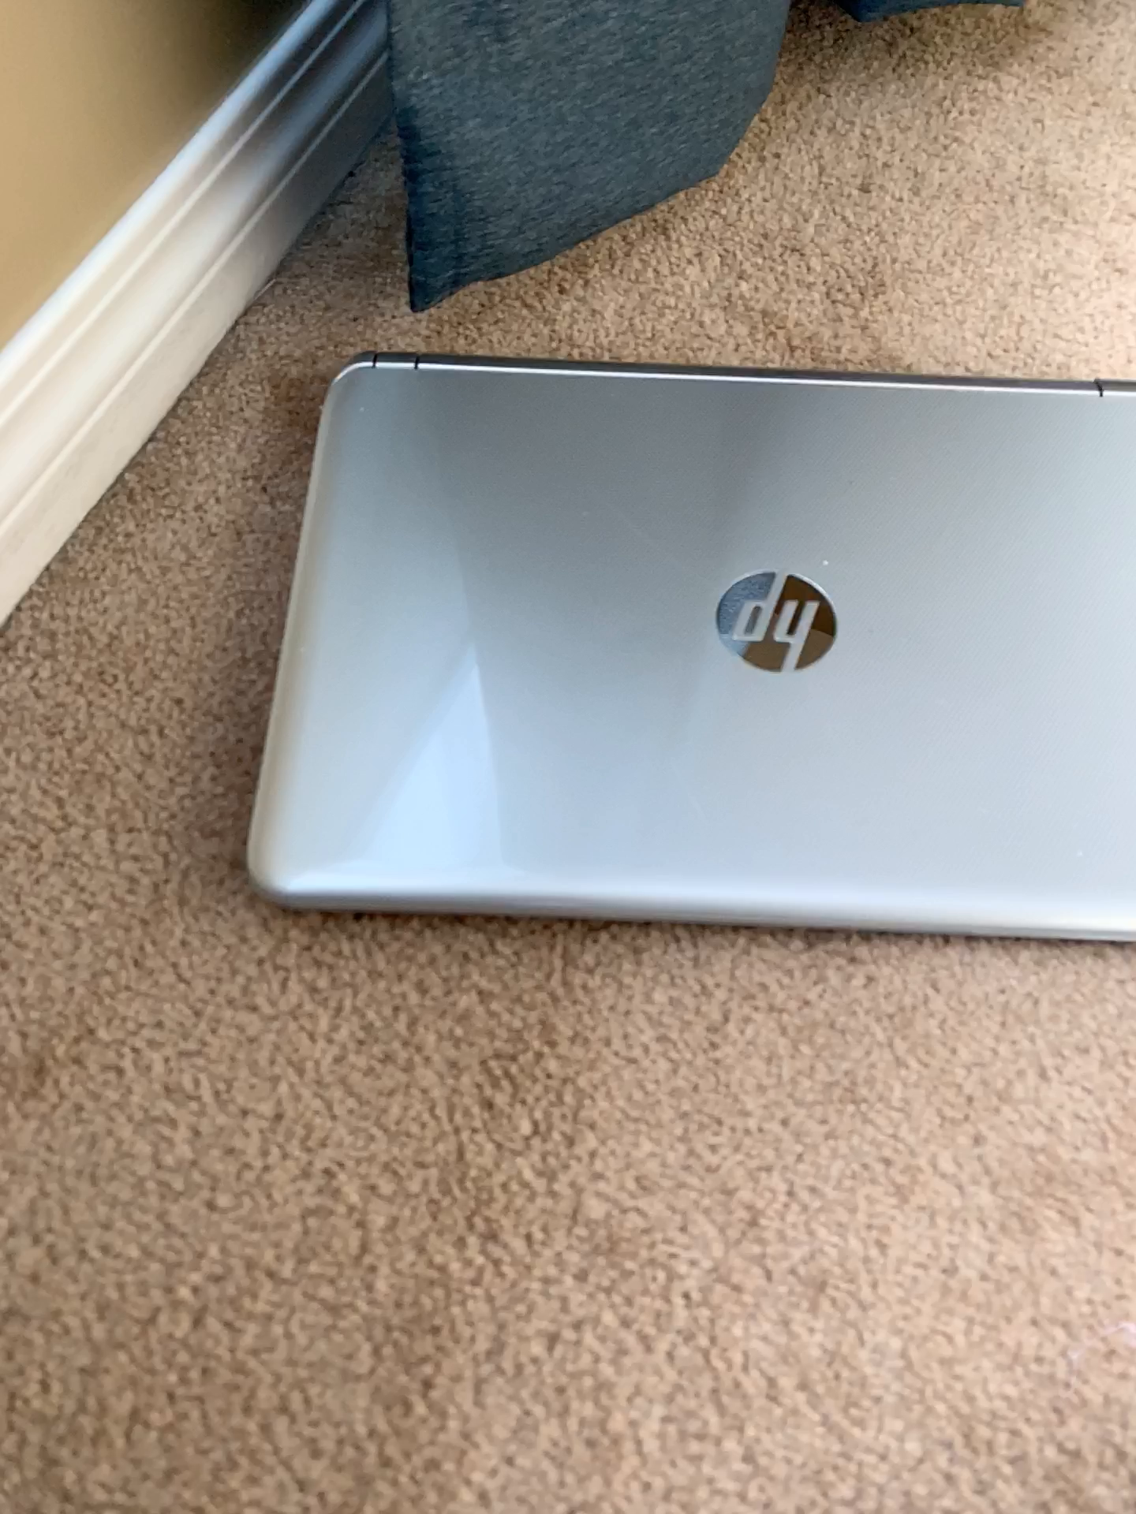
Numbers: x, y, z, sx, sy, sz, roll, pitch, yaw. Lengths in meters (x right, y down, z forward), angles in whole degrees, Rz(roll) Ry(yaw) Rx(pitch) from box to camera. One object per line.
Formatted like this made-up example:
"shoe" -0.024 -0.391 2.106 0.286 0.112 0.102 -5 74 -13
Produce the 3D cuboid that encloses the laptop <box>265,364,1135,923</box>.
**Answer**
"laptop" 0.073 -0.054 0.408 0.328 0.002 0.223 2 61 1
